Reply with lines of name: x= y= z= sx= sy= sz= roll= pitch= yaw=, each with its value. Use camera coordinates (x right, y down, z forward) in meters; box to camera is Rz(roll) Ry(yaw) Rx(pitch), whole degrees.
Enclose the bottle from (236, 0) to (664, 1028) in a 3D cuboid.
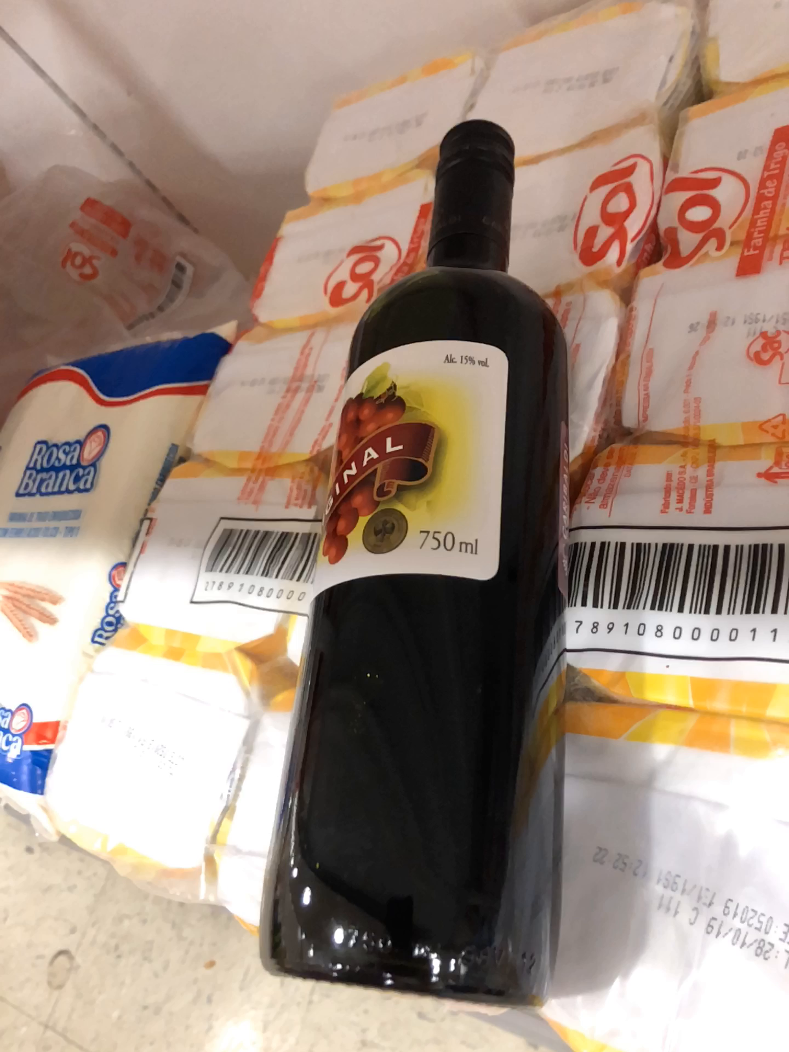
bottle: x=0.030 y=-0.027 z=0.288 sx=0.080 sy=0.070 sz=0.321 roll=-31 pitch=43 yaw=50
